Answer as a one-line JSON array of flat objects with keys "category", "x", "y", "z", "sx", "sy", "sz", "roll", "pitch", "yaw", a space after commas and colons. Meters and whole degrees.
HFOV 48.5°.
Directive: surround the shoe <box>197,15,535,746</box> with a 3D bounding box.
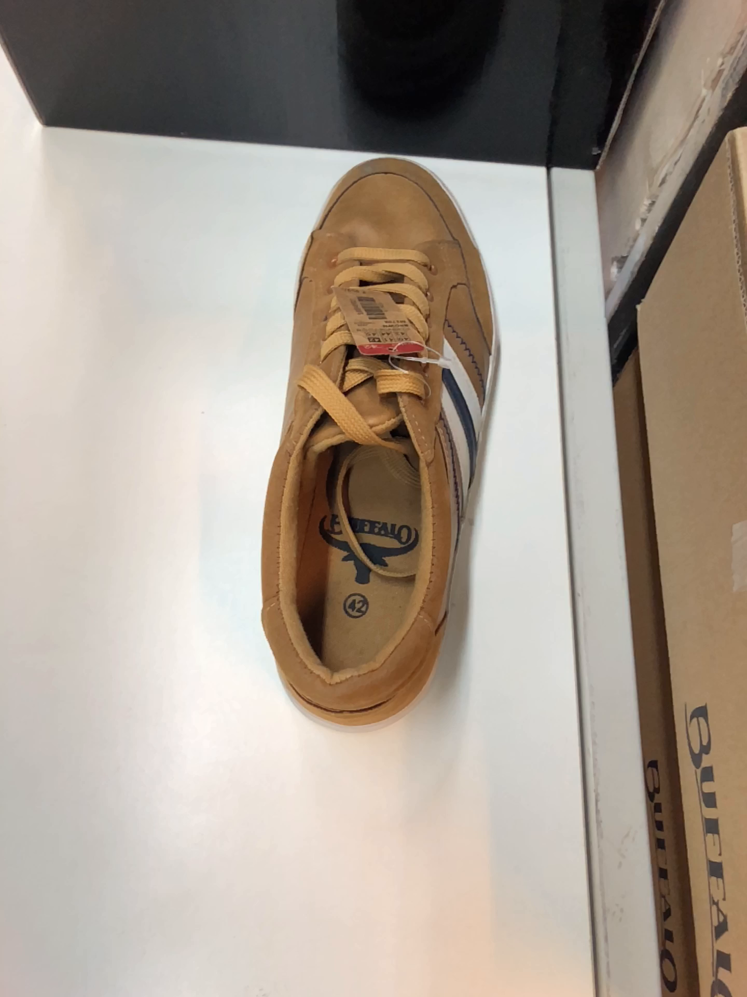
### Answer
[{"category": "shoe", "x": 0.006, "y": -0.051, "z": 0.363, "sx": 0.105, "sy": 0.104, "sz": 0.295, "roll": 5, "pitch": 71, "yaw": 0}]
